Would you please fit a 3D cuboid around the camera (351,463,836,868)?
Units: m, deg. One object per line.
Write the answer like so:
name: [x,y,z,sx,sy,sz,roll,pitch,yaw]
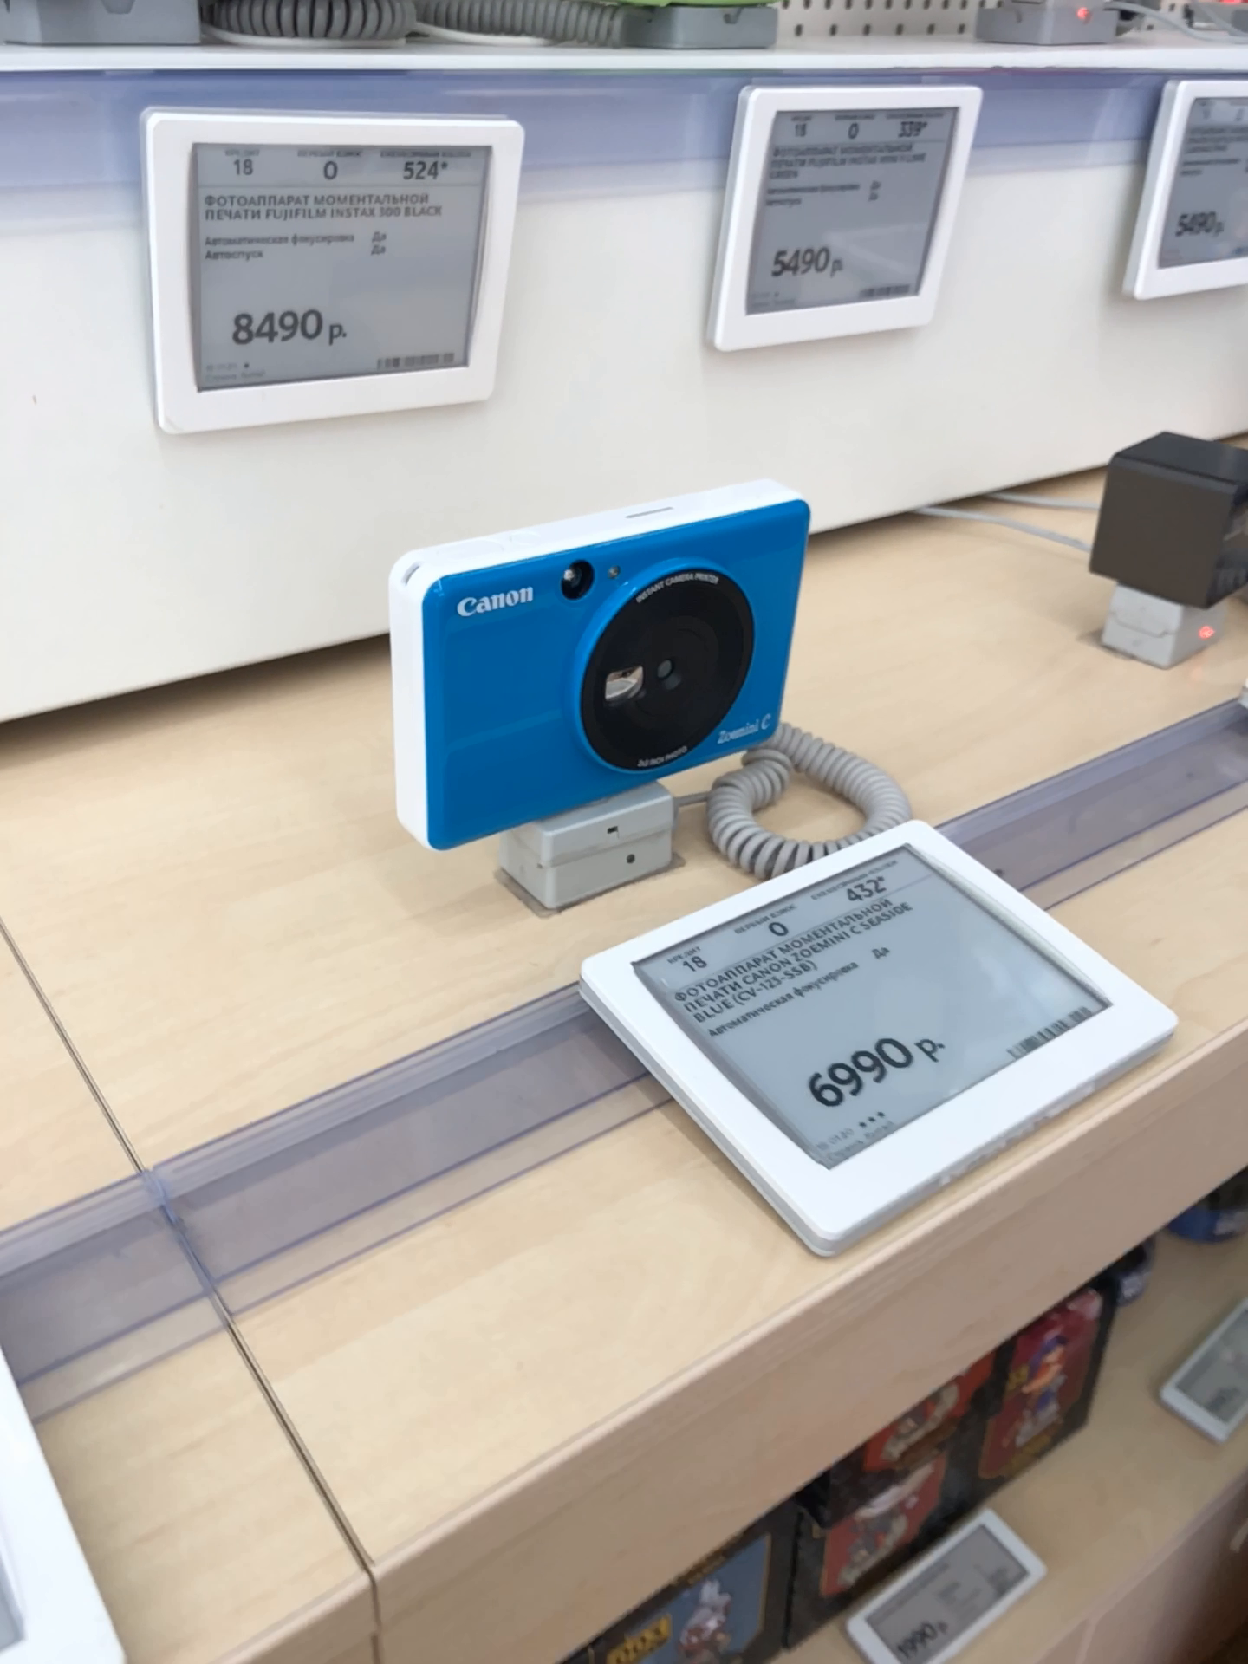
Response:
camera: [-0.006,-0.045,0.350,0.120,0.070,0.030,-20,42,-30]
